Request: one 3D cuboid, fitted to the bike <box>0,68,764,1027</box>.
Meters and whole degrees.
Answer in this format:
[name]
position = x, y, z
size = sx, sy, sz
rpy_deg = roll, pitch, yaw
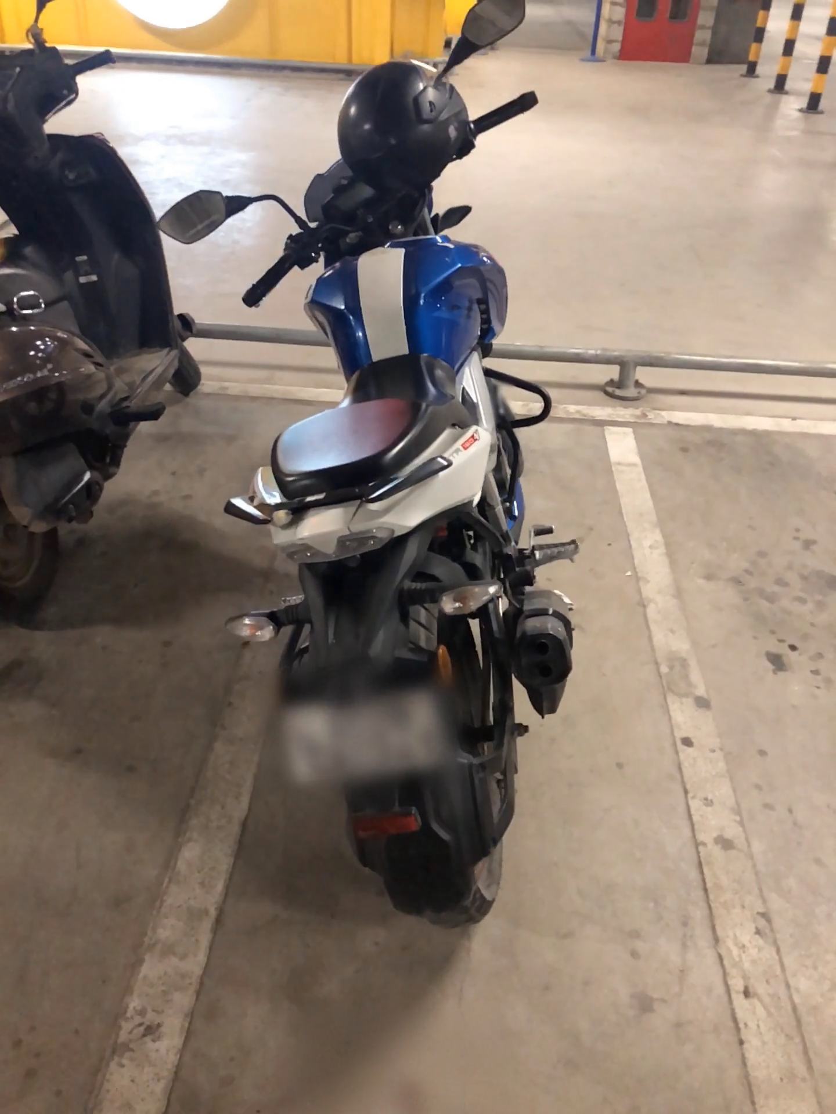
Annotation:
[bike]
position = -0.167, -0.279, 1.983
size = 0.806, 1.162, 1.996
rpy_deg = 0, 34, -3
